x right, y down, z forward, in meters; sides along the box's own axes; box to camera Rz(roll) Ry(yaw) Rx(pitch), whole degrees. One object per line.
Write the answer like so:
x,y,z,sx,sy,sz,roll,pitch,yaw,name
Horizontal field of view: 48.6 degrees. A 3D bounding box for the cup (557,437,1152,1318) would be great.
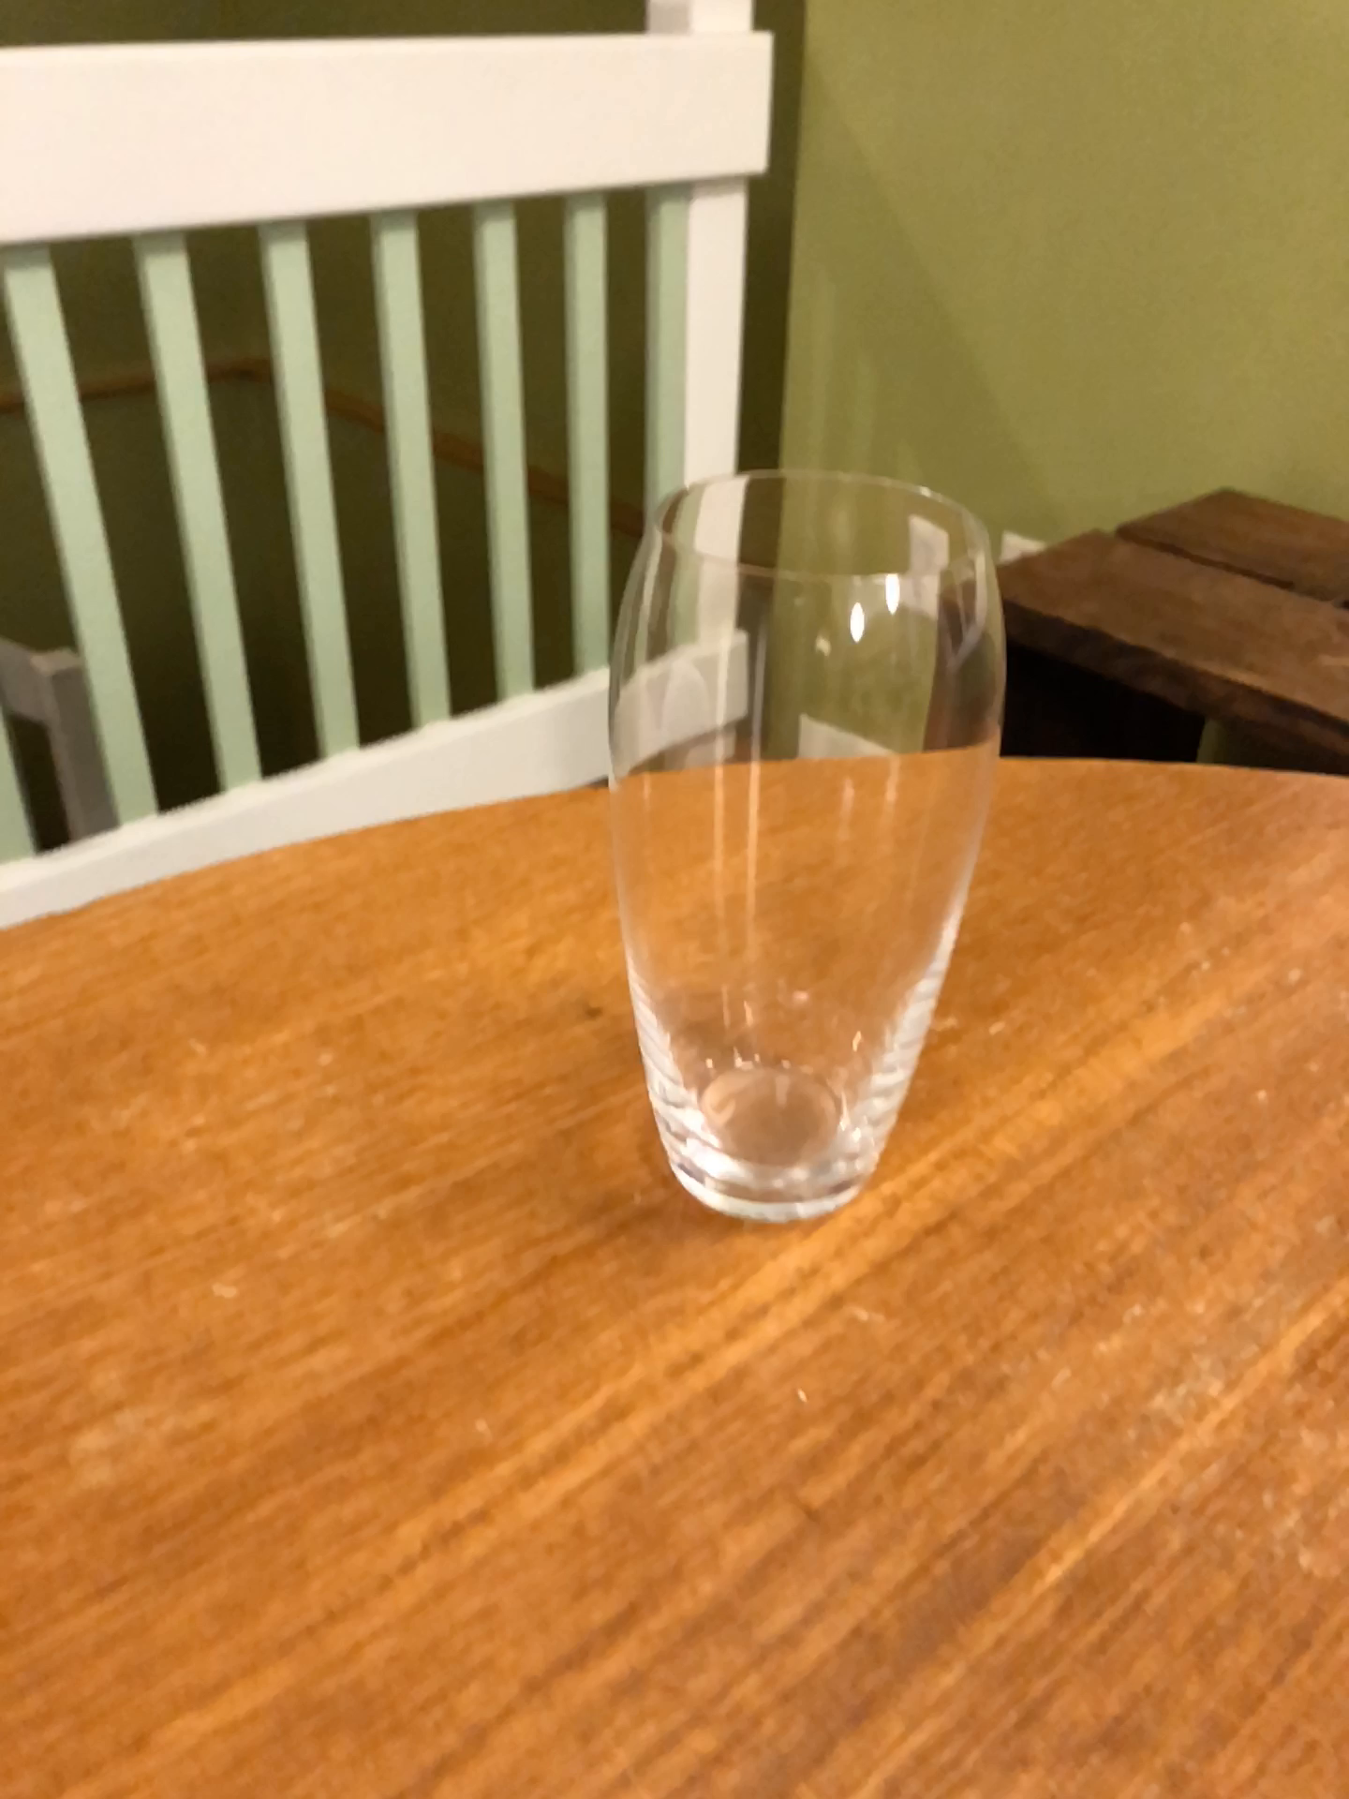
0.033,-0.007,0.329,0.081,0.156,0.082,1,32,-1,cup
